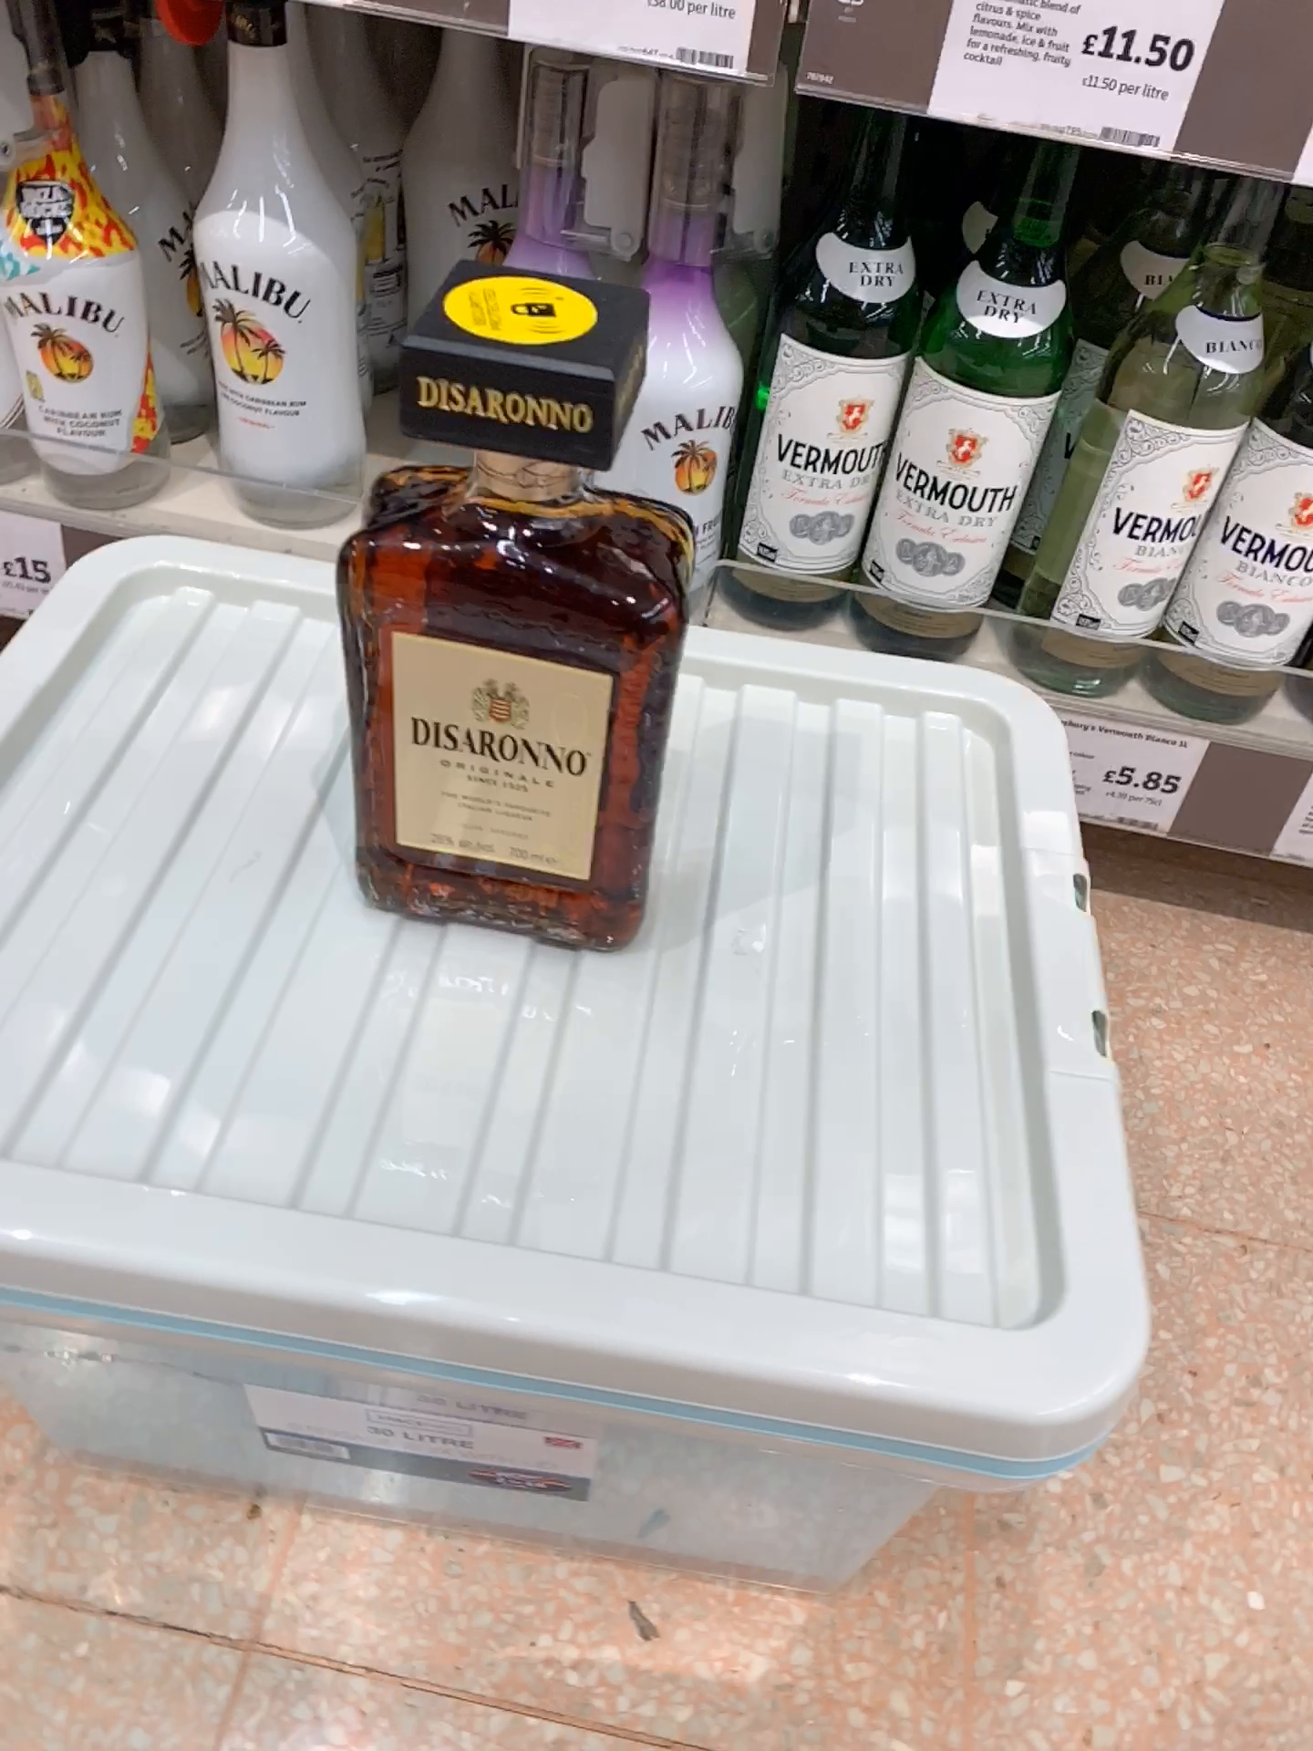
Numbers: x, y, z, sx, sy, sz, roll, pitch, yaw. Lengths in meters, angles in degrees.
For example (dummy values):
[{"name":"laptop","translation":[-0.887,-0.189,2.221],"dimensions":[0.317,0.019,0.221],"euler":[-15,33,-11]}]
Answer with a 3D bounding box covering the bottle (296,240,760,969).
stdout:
[{"name":"bottle","translation":[-0.042,-0.074,0.430],"dimensions":[0.110,0.208,0.071],"euler":[11,45,1]}]
